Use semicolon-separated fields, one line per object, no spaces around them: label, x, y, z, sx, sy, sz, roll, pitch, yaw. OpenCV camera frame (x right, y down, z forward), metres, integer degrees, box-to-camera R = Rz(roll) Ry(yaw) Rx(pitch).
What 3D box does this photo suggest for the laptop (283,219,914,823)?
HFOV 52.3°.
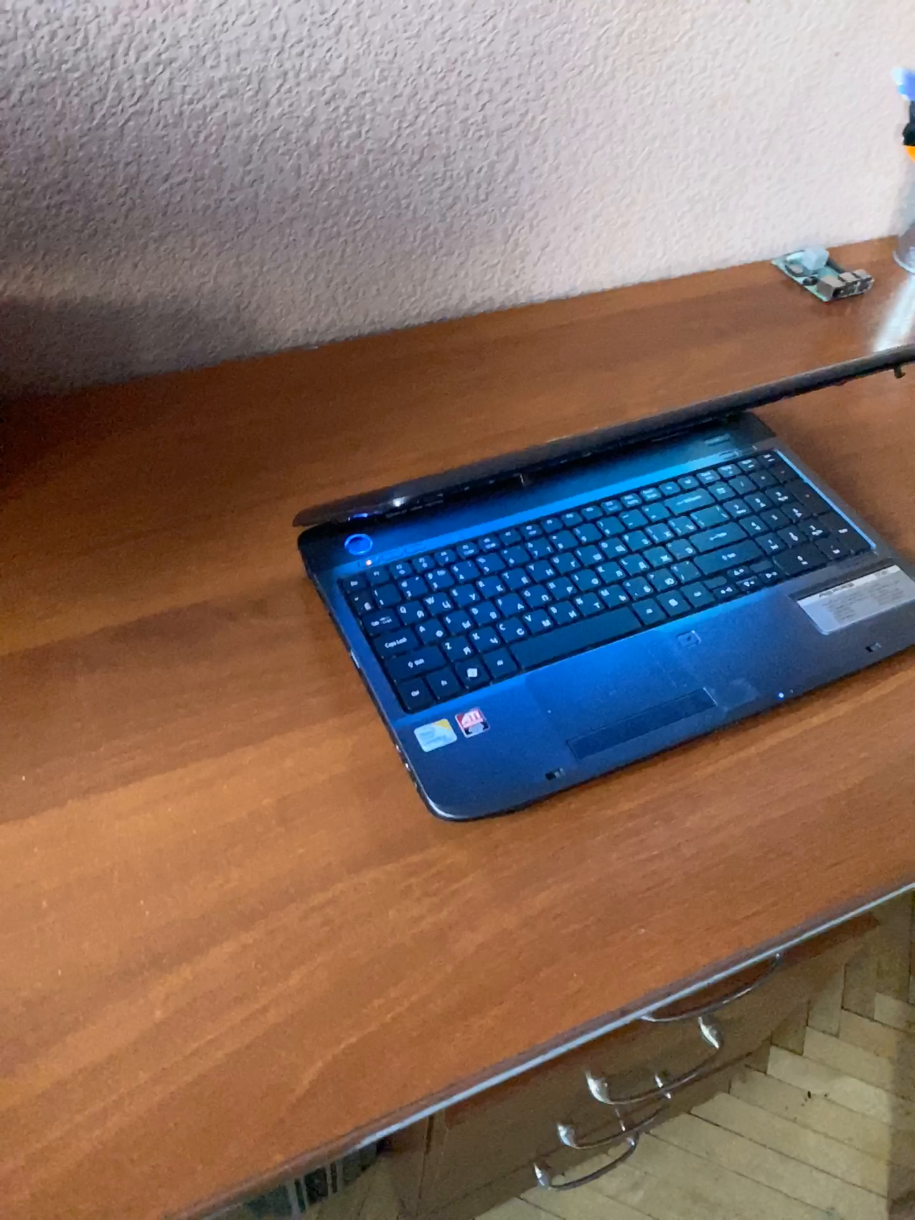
laptop;0.119;-0.078;0.582;0.380;0.163;0.241;-18;52;-18
